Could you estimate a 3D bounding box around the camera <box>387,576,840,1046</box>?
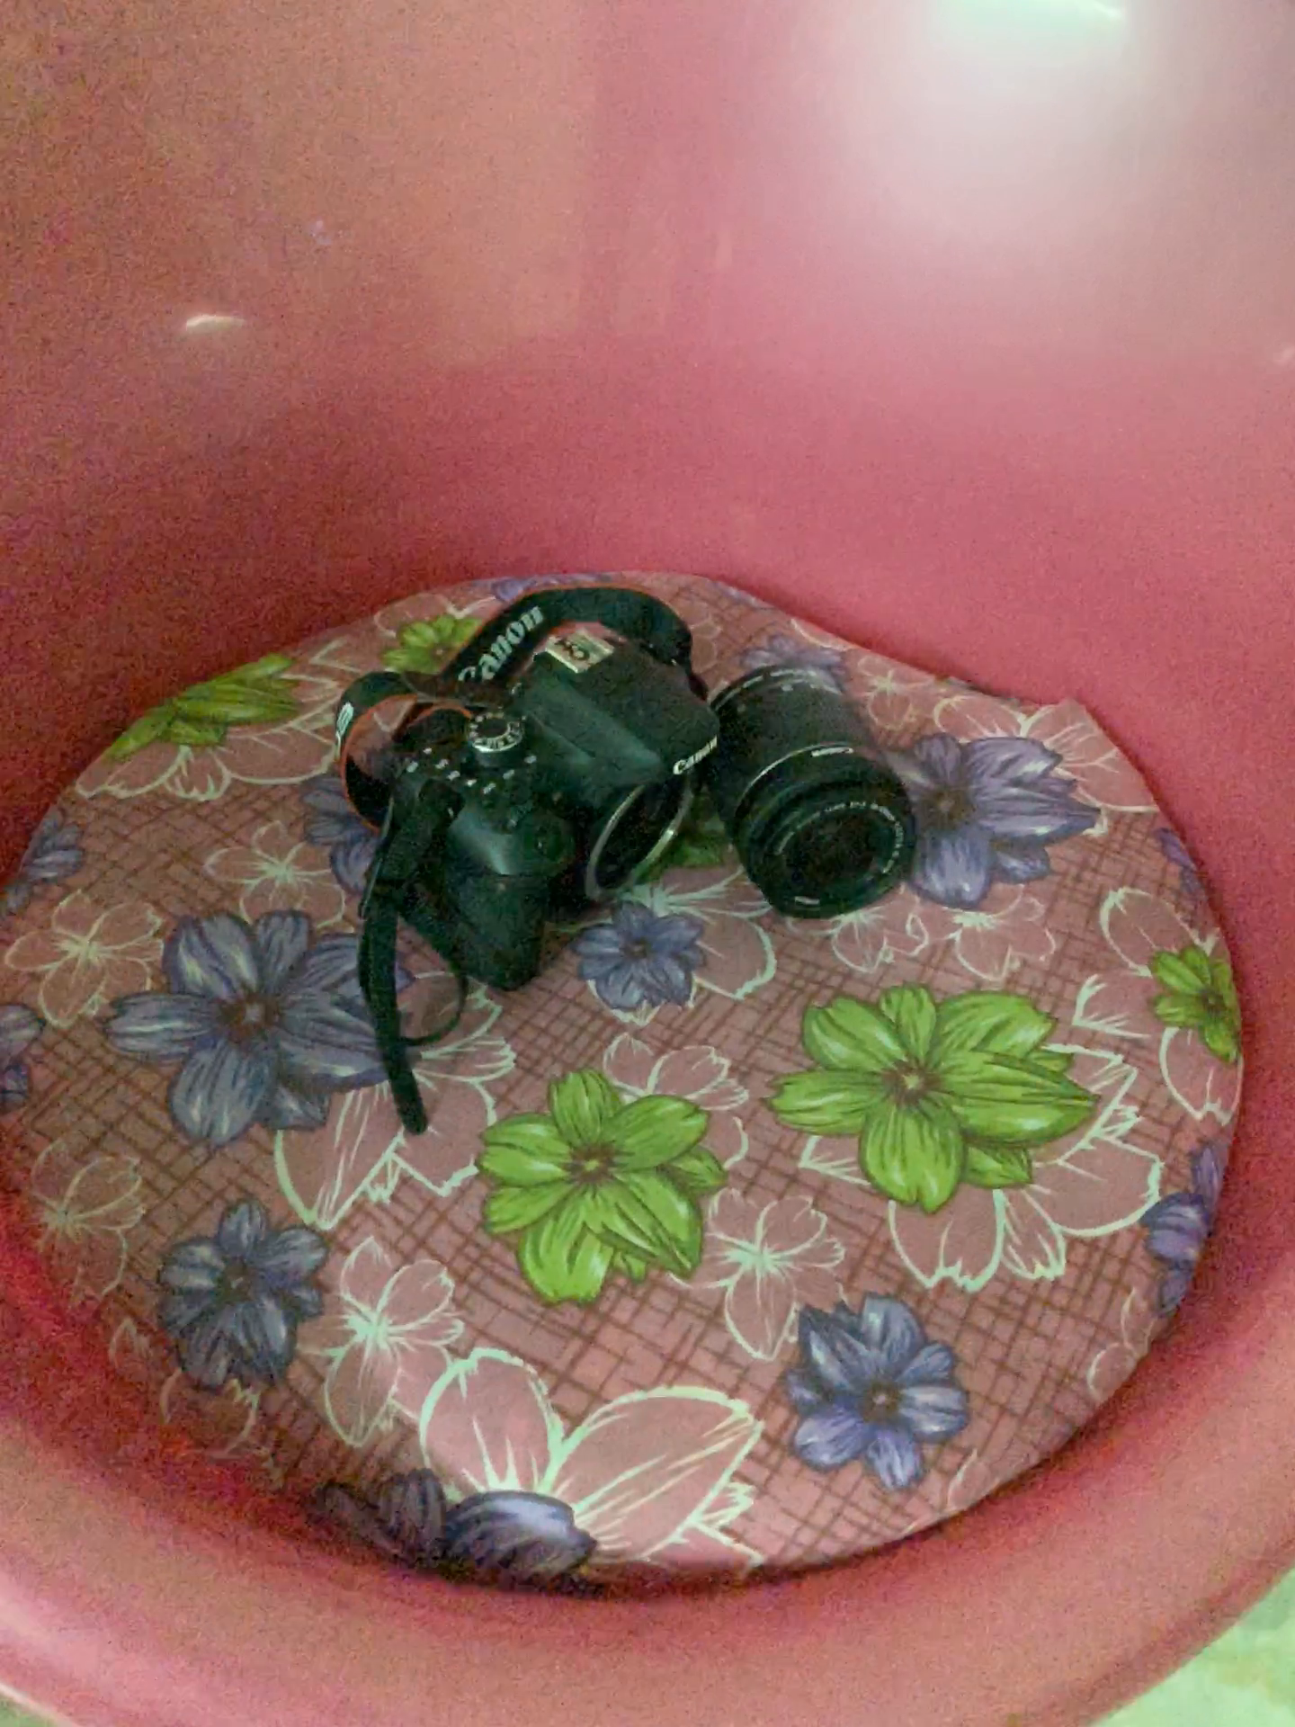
[{"bbox_3d":[-0.011,-0.023,0.493,0.086,0.078,0.143,35,57,21],"label":"camera"}]
